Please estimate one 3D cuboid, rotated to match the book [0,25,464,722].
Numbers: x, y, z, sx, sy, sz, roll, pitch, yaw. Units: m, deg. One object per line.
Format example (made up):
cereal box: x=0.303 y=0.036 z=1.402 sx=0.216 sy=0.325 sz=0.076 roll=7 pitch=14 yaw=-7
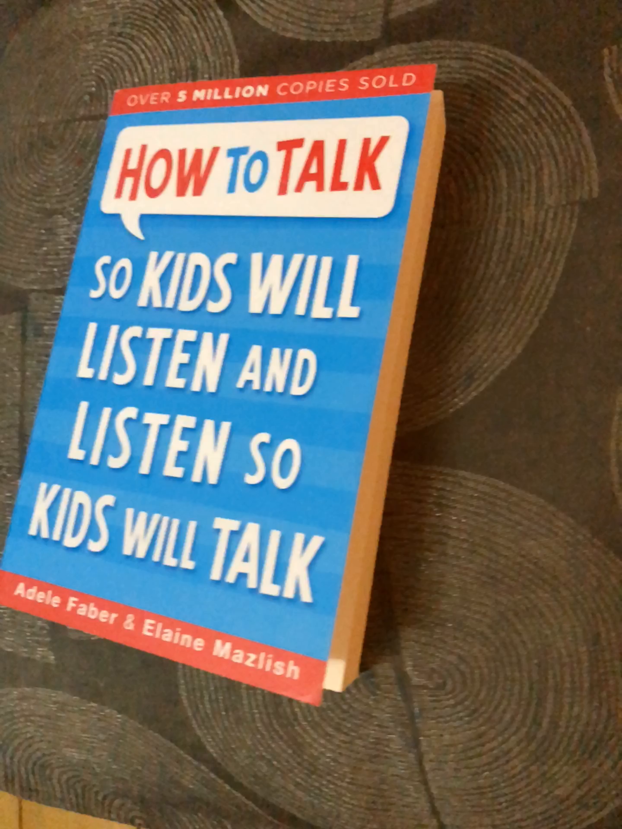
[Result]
book: x=-0.033 y=-0.022 z=0.245 sx=0.140 sy=0.030 sz=0.210 roll=7 pitch=86 yaw=22
